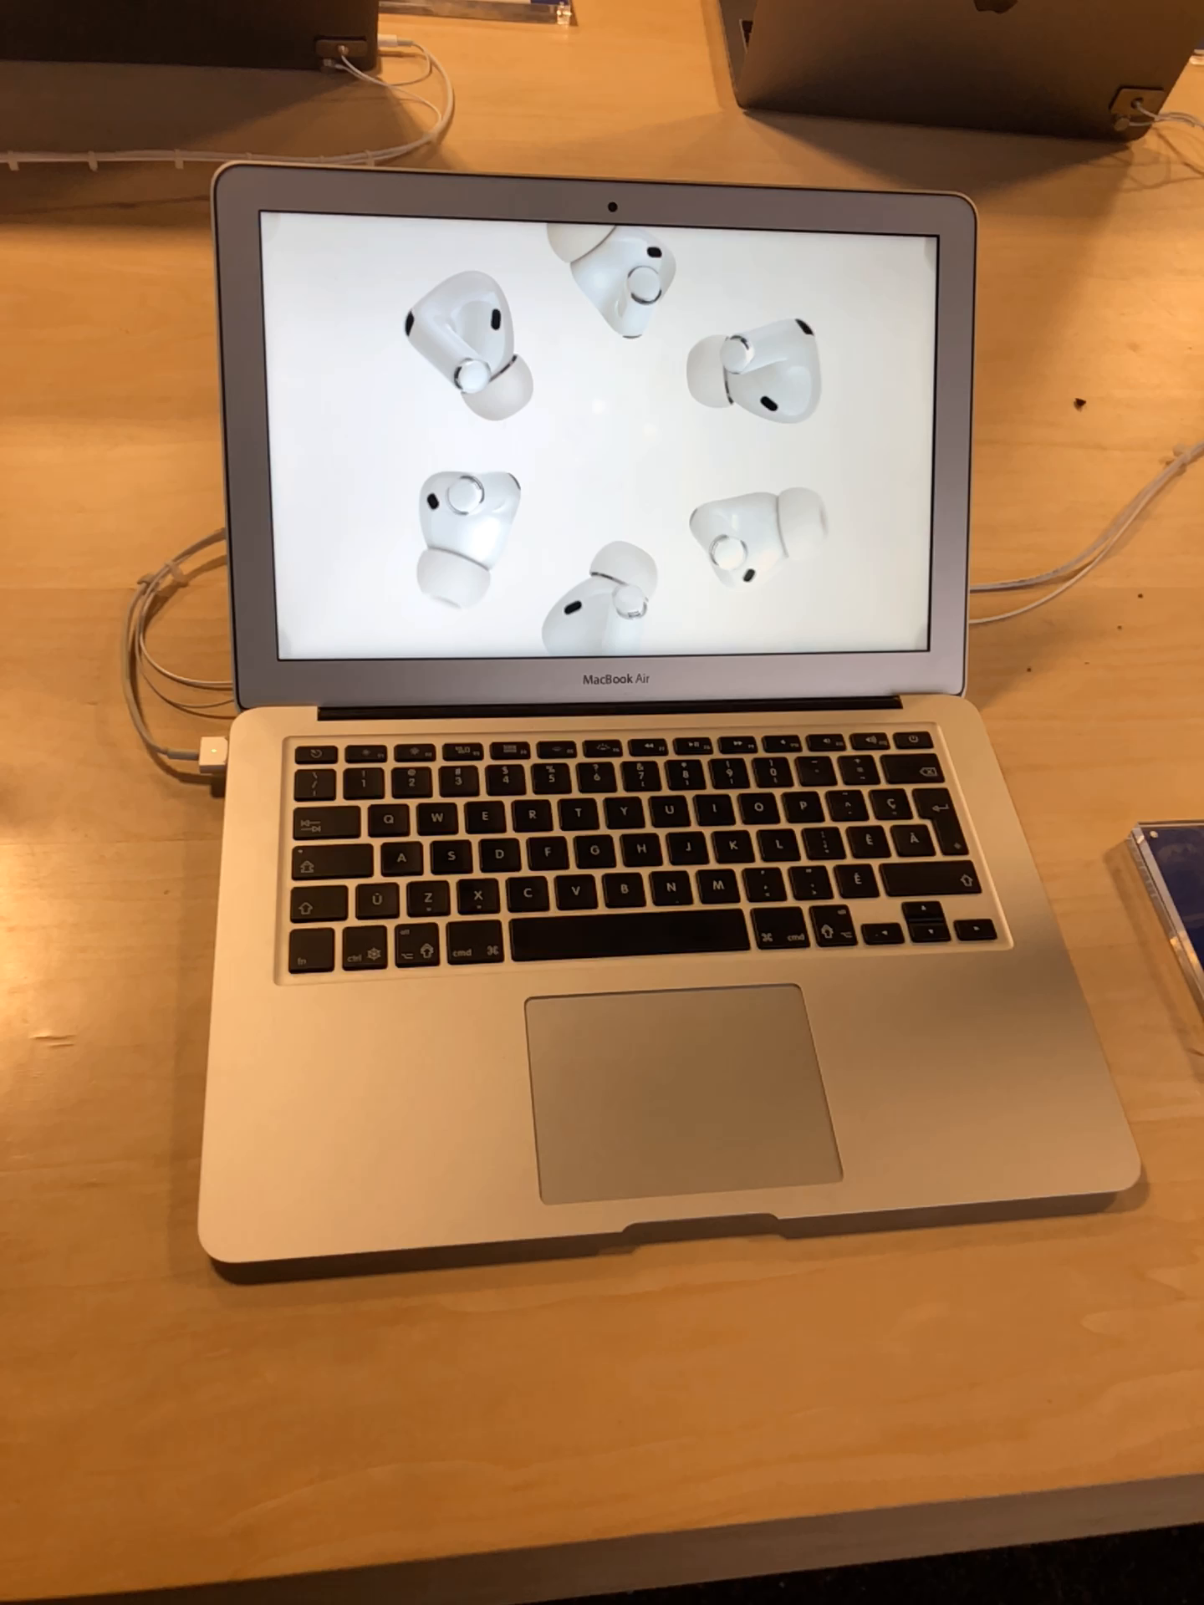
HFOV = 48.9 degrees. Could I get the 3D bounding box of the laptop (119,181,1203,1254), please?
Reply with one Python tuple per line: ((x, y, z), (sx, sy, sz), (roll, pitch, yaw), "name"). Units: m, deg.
((0.017, -0.058, 0.489), (0.311, 0.151, 0.372), (-2, 52, -9), "laptop")
